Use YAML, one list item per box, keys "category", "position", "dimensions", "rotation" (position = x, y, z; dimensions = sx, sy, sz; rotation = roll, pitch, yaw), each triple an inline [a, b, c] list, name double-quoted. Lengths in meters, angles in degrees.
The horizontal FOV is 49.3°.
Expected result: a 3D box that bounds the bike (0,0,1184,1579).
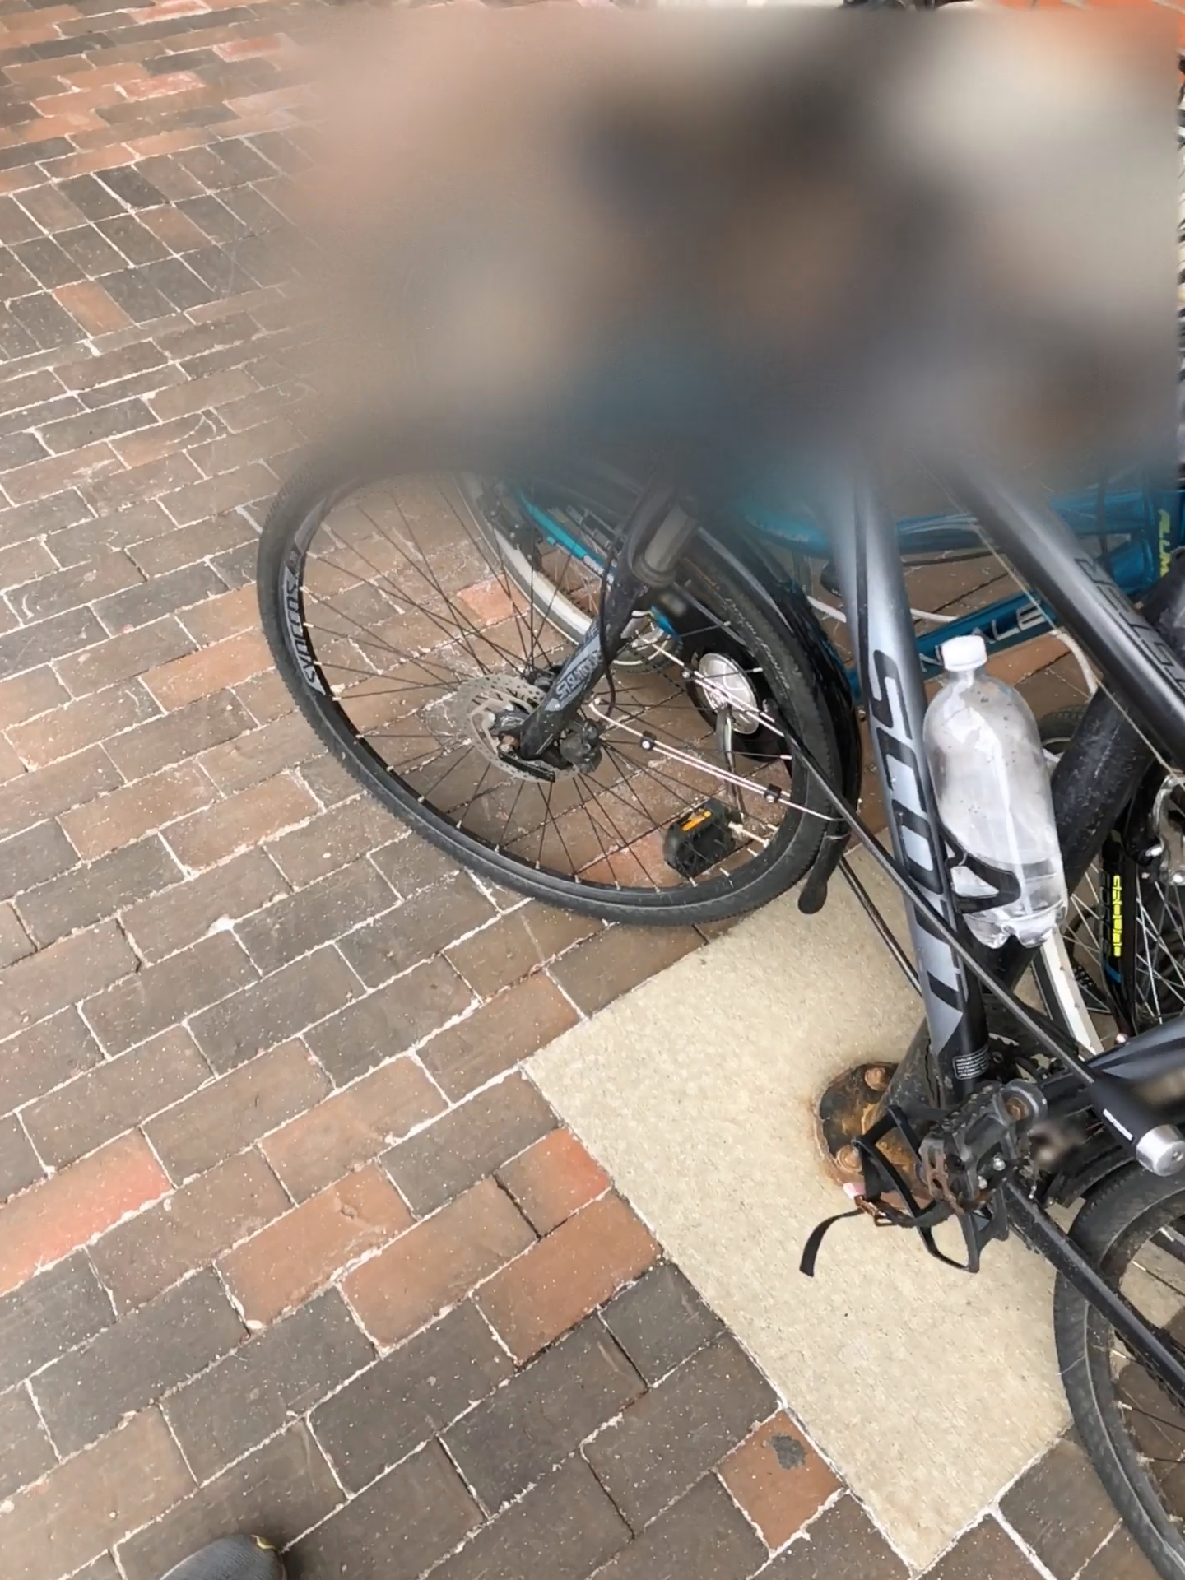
- category: "bike"
  position: [0.257, 0.063, 1.005]
  dimensions: [0.675, 0.940, 1.511]
  rotation: [-35, 58, -30]
